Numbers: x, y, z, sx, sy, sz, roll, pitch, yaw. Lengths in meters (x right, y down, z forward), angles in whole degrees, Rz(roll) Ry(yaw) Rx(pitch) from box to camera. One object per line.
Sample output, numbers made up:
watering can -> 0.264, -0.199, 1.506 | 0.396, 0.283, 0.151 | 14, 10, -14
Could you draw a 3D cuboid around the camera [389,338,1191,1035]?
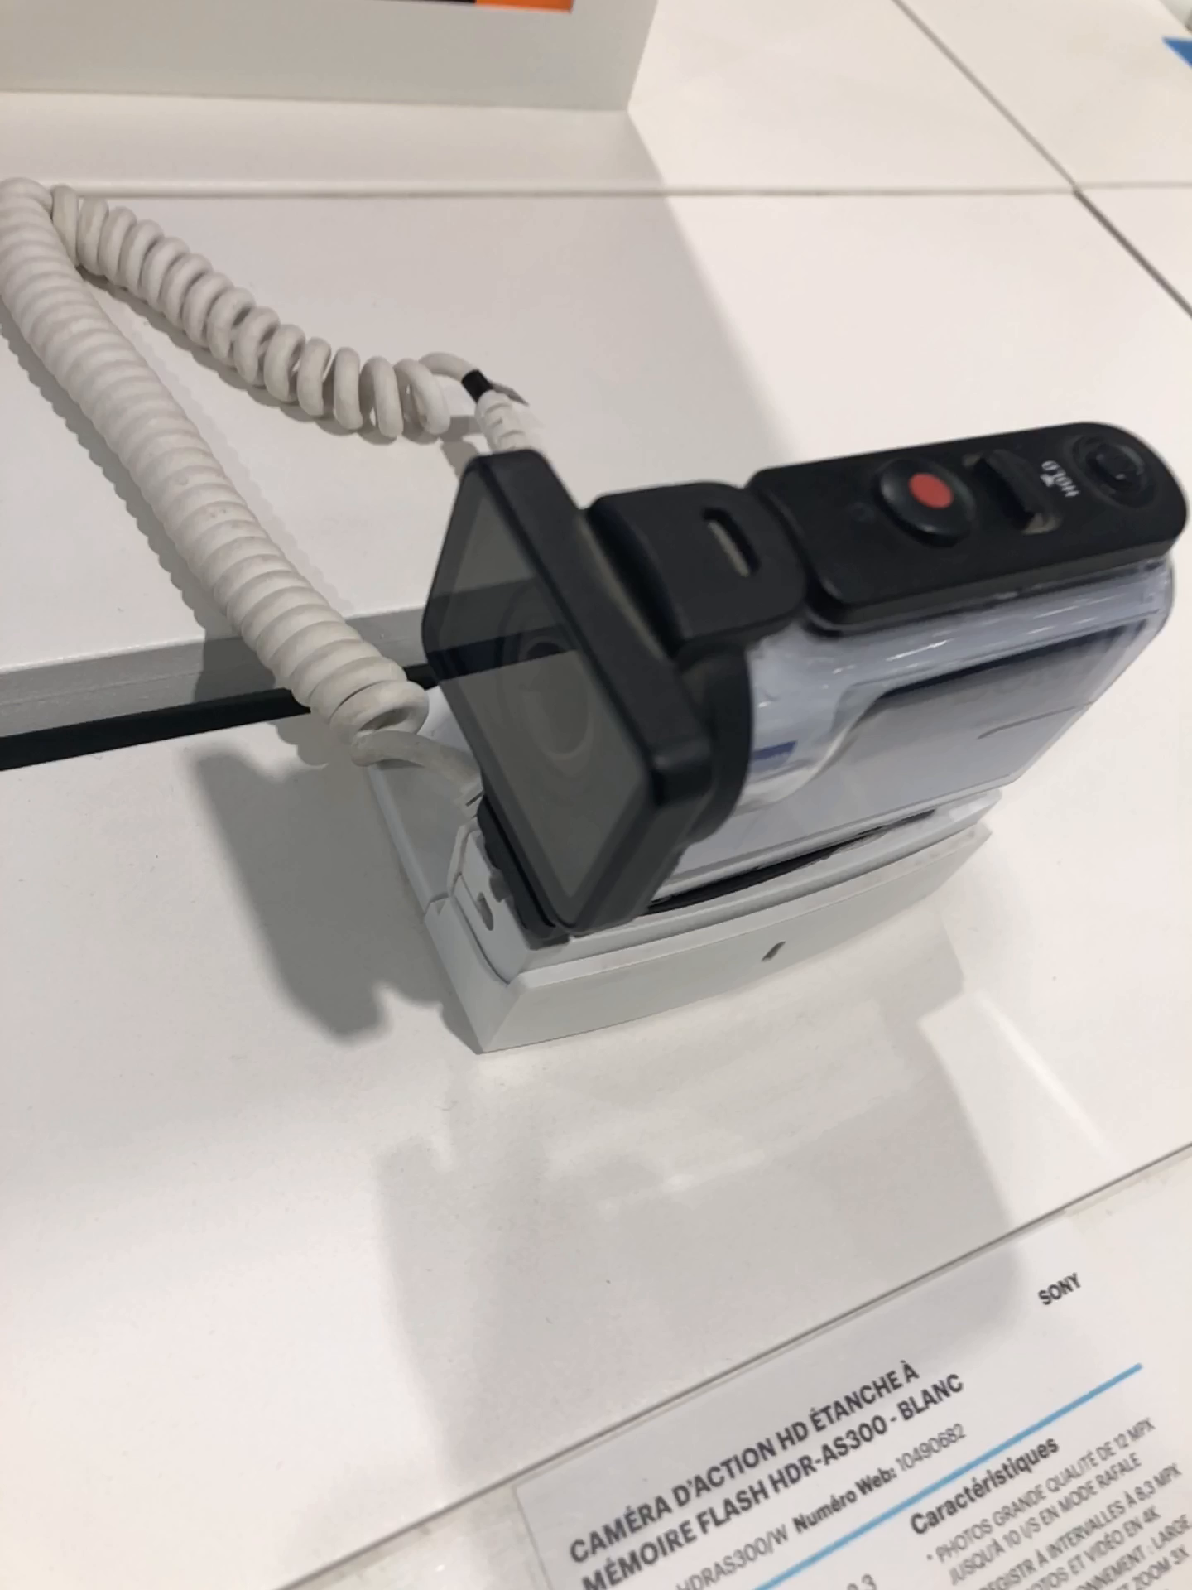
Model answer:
camera -> 0.031, -0.017, 0.156 | 0.093, 0.044, 0.049 | -14, 59, -28
